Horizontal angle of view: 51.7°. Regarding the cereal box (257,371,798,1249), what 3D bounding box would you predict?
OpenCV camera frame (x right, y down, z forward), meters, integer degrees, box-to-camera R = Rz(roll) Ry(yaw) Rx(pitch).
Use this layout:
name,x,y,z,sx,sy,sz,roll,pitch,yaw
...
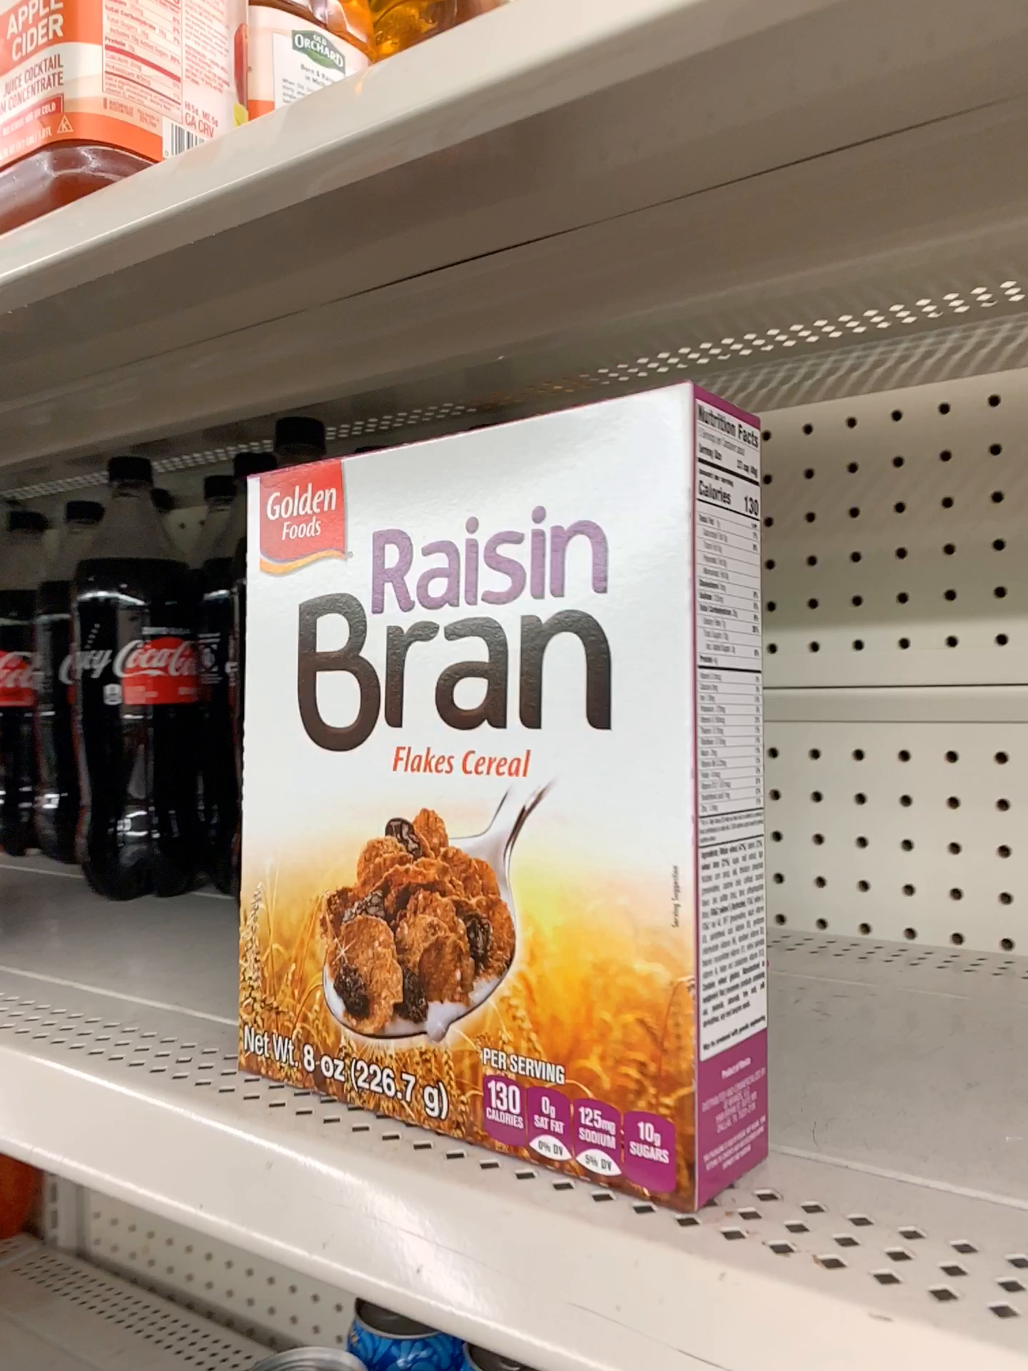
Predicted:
name,x,y,z,sx,sy,sz,roll,pitch,yaw
cereal box,-0.006,0.033,0.358,0.190,0.230,0.050,-2,-3,39
